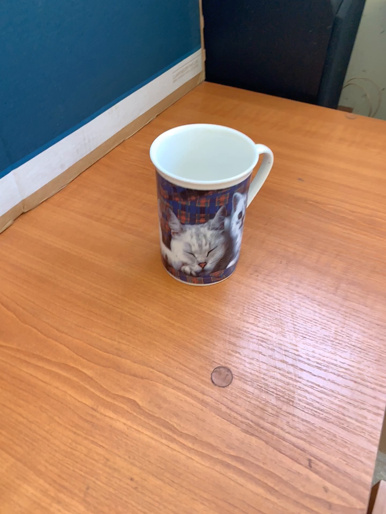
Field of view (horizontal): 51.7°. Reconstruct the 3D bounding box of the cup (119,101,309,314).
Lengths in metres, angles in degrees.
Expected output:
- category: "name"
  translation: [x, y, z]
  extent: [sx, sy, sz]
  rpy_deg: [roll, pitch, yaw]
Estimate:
- category: "cup"
  translation: [0.017, -0.041, 0.306]
  extent: [0.080, 0.100, 0.110]
  rpy_deg: [29, 52, 26]
